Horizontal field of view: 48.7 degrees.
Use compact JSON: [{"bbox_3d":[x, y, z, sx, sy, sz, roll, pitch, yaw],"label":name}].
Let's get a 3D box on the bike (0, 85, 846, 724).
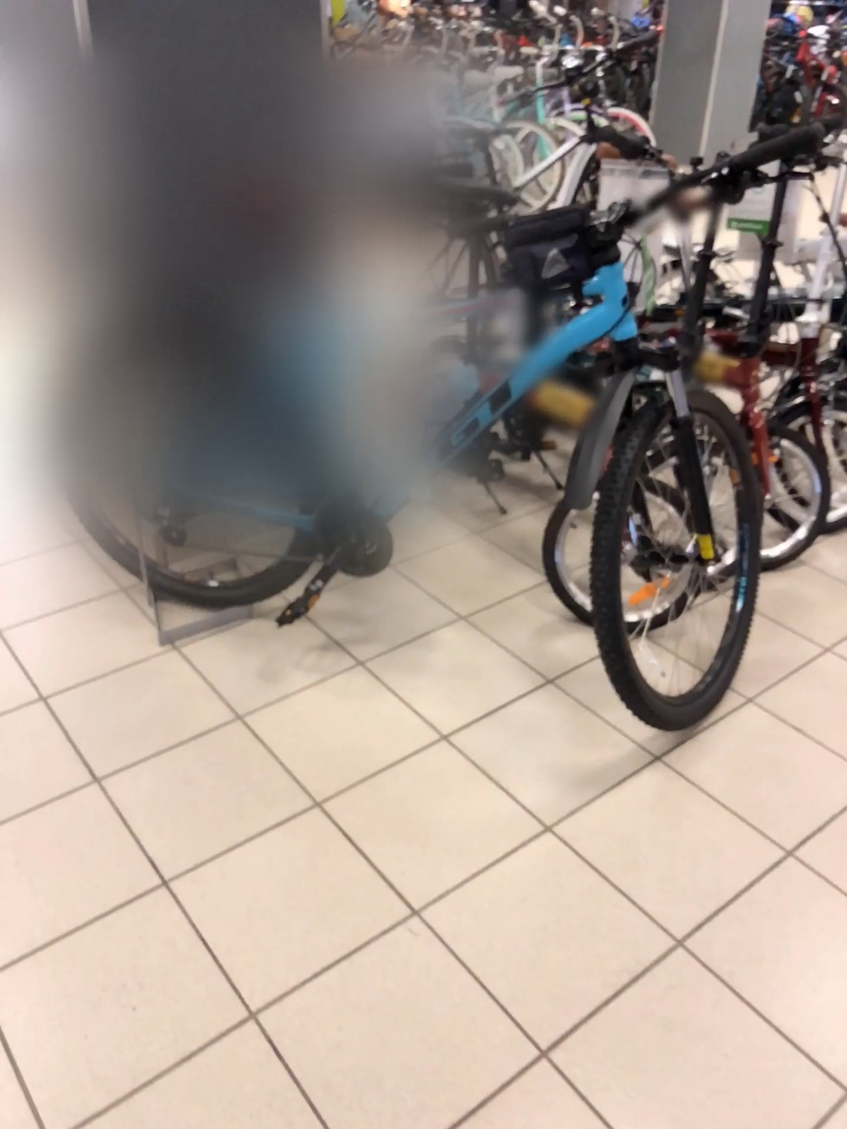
[{"bbox_3d":[-0.062,-0.366,2.041,1.610,1.084,0.695,5,30,3],"label":"bike"}]
